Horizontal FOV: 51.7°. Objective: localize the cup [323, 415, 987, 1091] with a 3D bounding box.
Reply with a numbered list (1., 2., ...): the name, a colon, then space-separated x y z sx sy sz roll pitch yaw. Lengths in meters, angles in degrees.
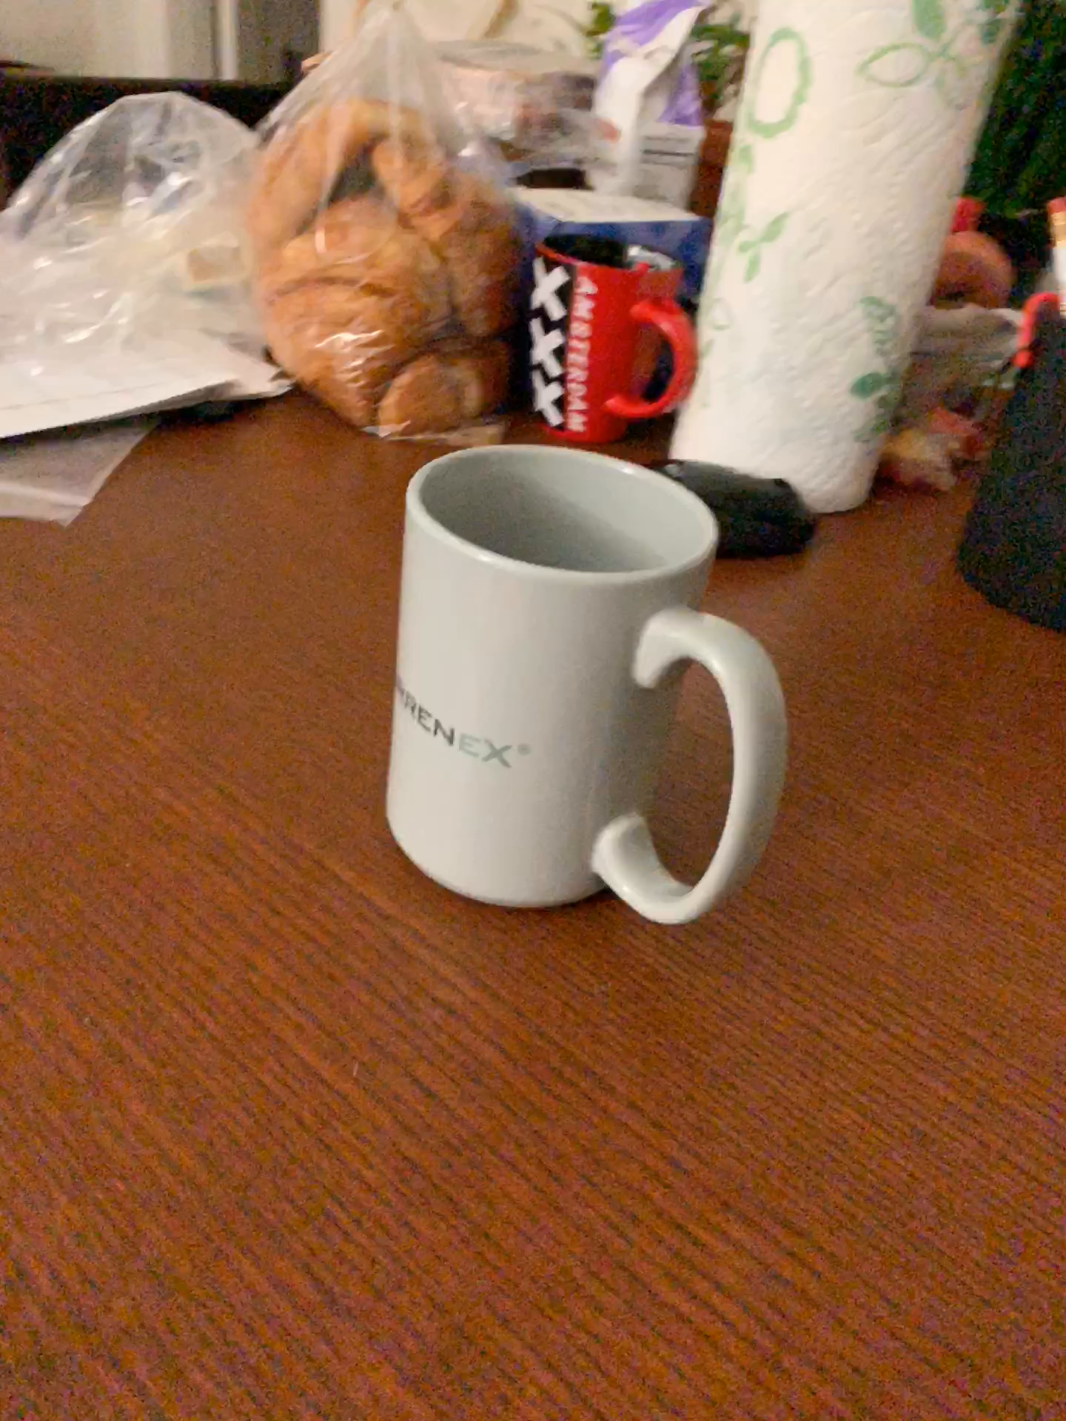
1. cup: 0.020 -0.001 0.309 0.100 0.109 0.141 -17 41 -34
